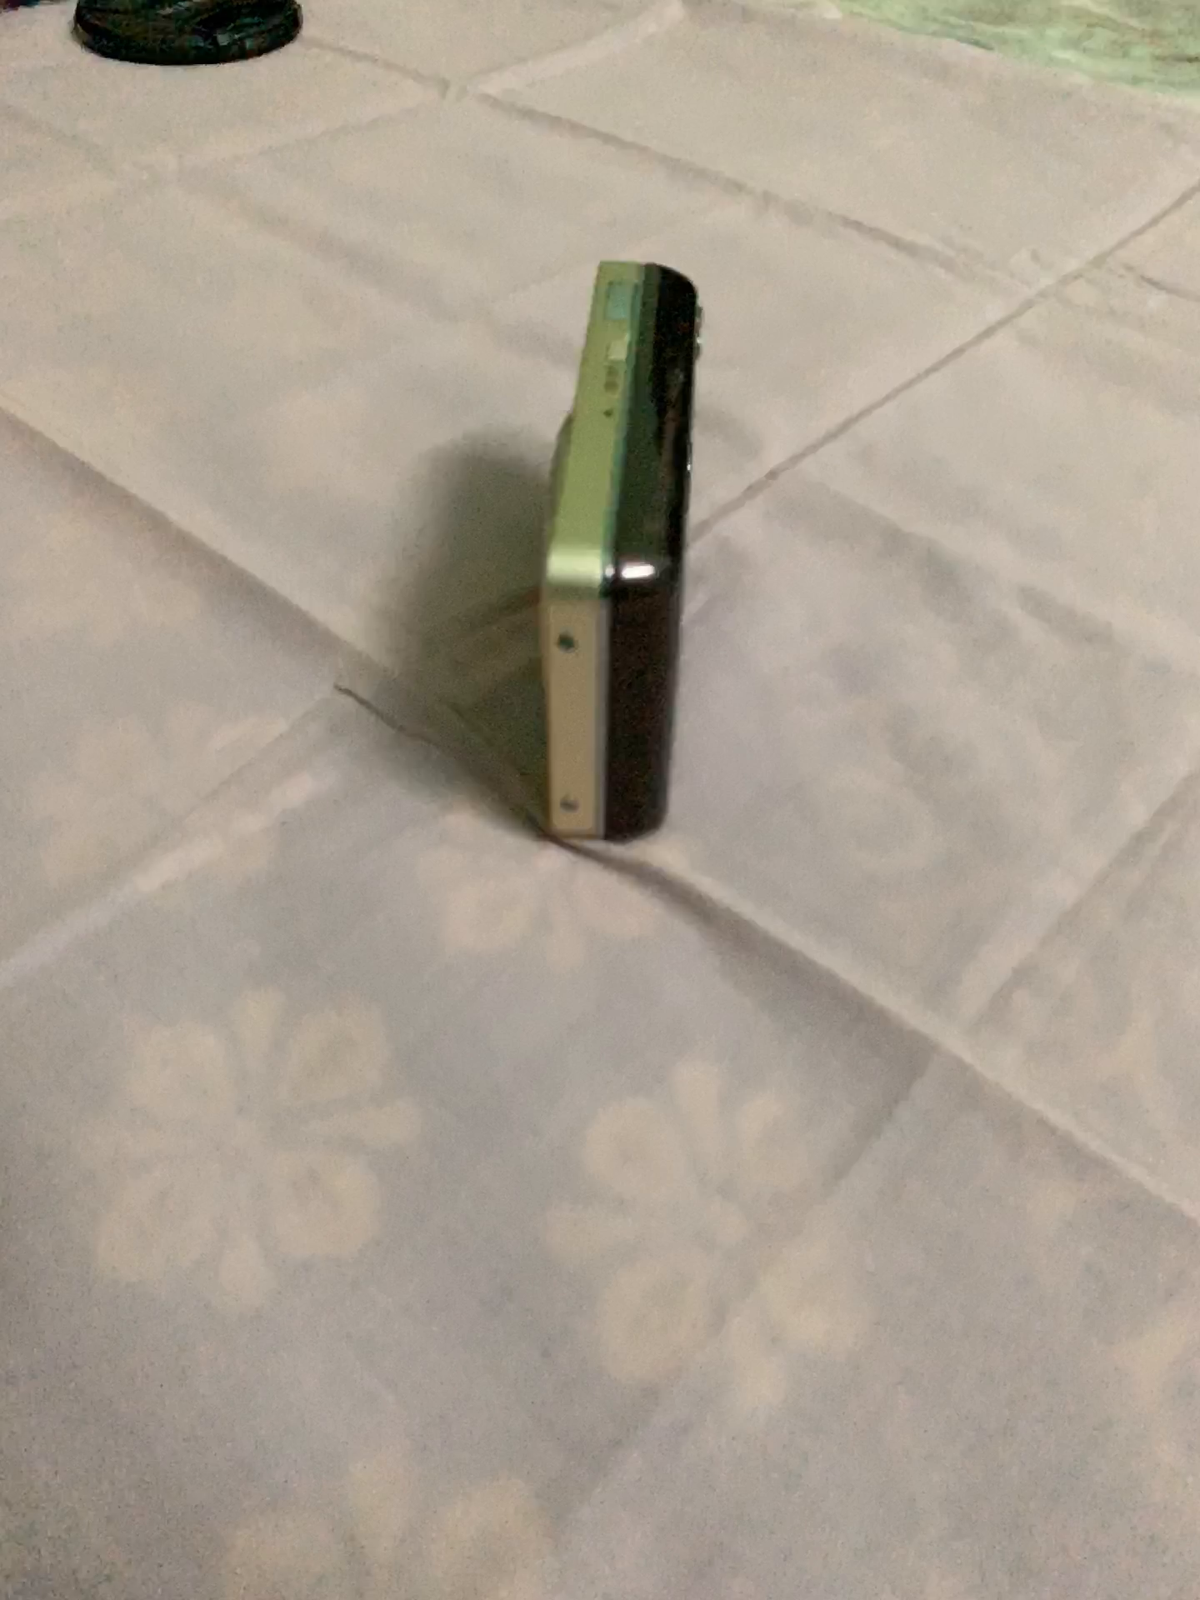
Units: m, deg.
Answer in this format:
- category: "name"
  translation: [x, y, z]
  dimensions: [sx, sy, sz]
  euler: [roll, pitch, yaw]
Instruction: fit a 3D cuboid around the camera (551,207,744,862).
- category: "camera"
  translation: [0.008, -0.044, 0.193]
  dimensions: [0.021, 0.060, 0.089]
  euler: [5, 46, 2]
